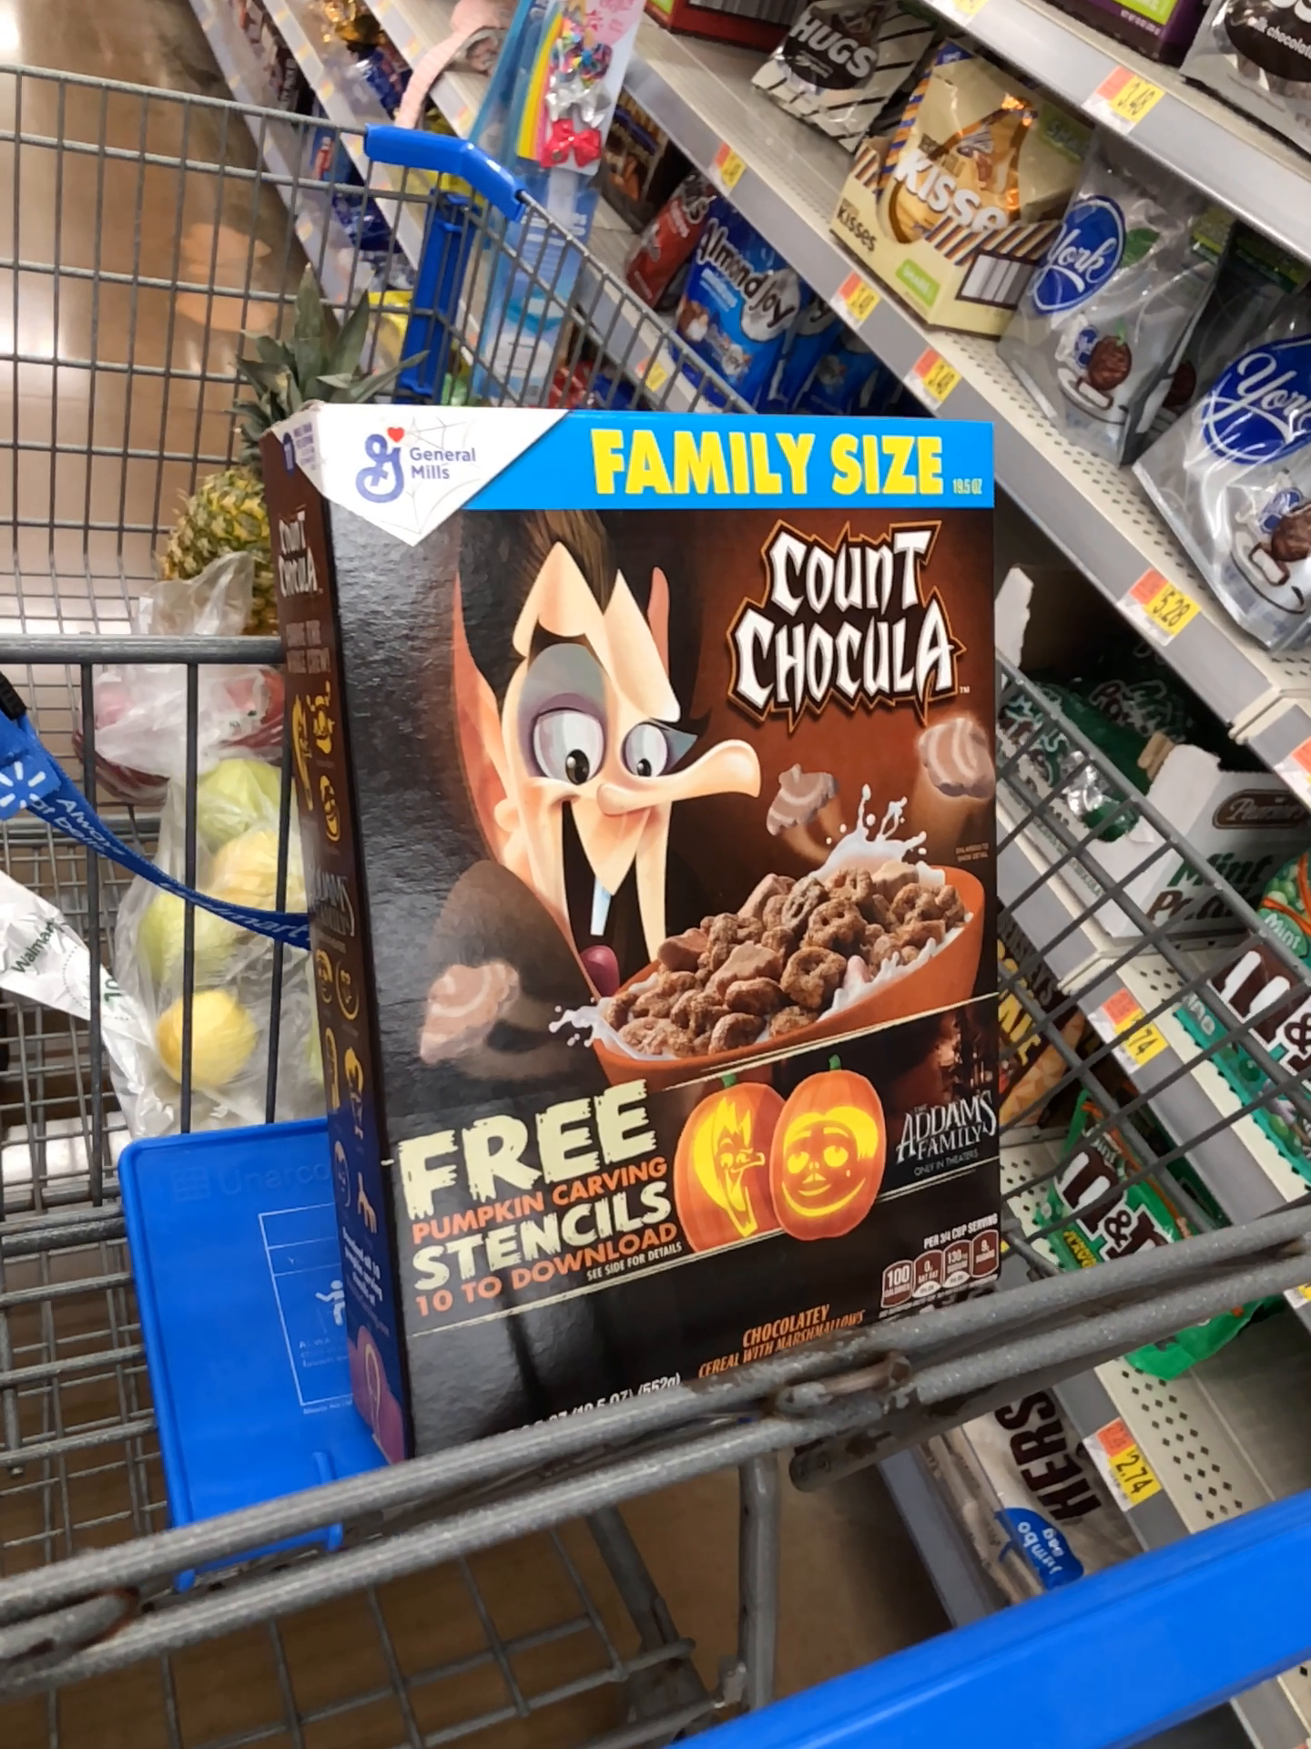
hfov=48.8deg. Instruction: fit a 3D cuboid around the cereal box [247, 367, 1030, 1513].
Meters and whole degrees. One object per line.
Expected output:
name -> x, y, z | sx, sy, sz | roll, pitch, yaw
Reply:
cereal box -> 0.008, 0.009, 0.503 | 0.251, 0.330, 0.080 | -8, 12, -30
